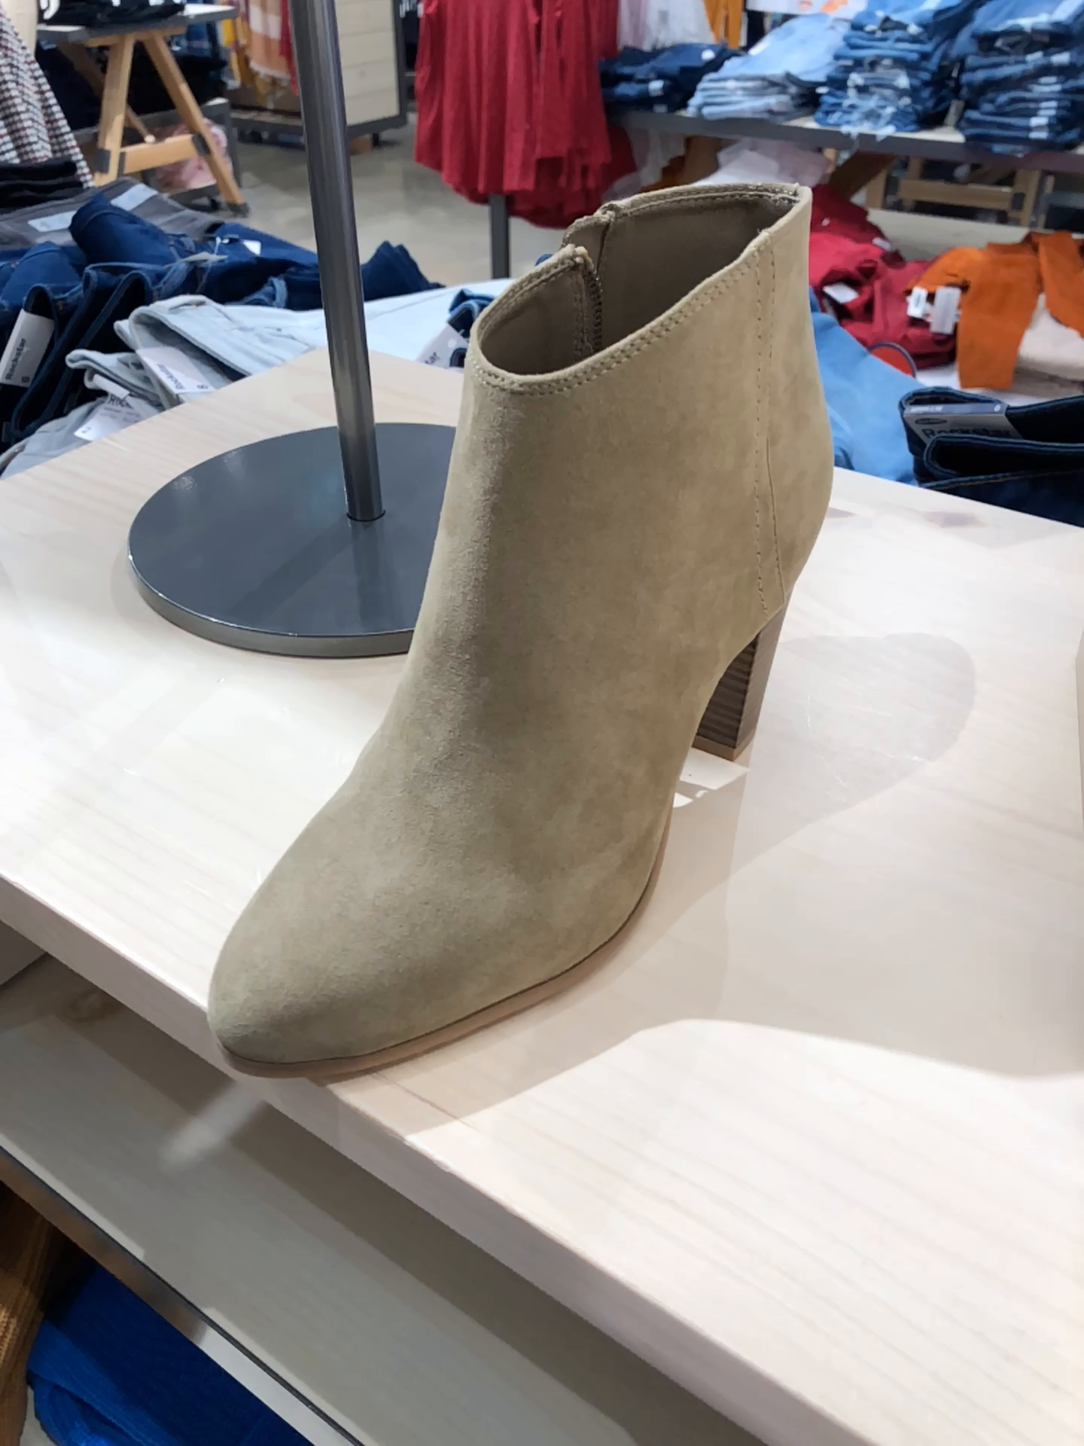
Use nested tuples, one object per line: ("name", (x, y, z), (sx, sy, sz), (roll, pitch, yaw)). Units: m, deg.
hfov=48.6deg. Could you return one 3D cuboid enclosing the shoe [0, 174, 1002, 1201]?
("shoe", (0.009, -0.029, 0.316), (0.090, 0.169, 0.230), (27, 44, 33))
